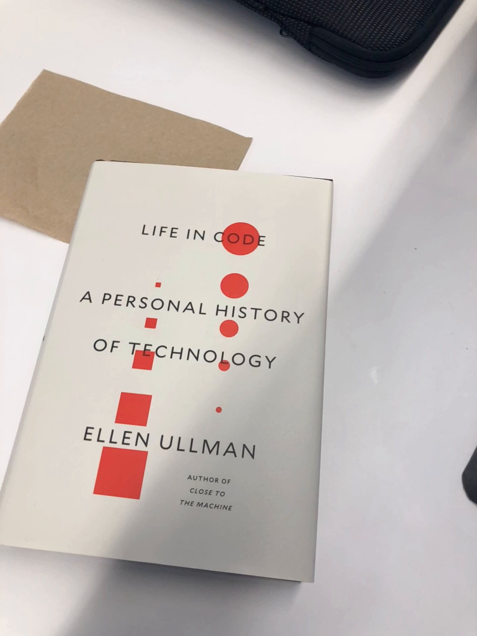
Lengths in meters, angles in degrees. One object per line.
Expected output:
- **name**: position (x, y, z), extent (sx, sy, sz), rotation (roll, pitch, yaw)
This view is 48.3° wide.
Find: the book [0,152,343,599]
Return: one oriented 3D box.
- **book**: position (-0.032, 0.014, 0.285), extent (0.160, 0.030, 0.220), rotation (6, 66, 4)
